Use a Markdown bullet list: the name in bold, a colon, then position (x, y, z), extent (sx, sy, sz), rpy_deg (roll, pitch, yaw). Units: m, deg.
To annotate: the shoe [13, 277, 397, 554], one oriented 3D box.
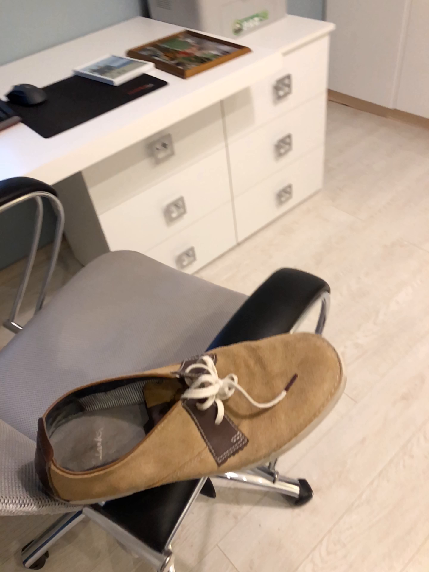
- **shoe**: position (-0.010, 0.107, 0.431), extent (0.310, 0.079, 0.121), rpy_deg (-19, 45, -10)
